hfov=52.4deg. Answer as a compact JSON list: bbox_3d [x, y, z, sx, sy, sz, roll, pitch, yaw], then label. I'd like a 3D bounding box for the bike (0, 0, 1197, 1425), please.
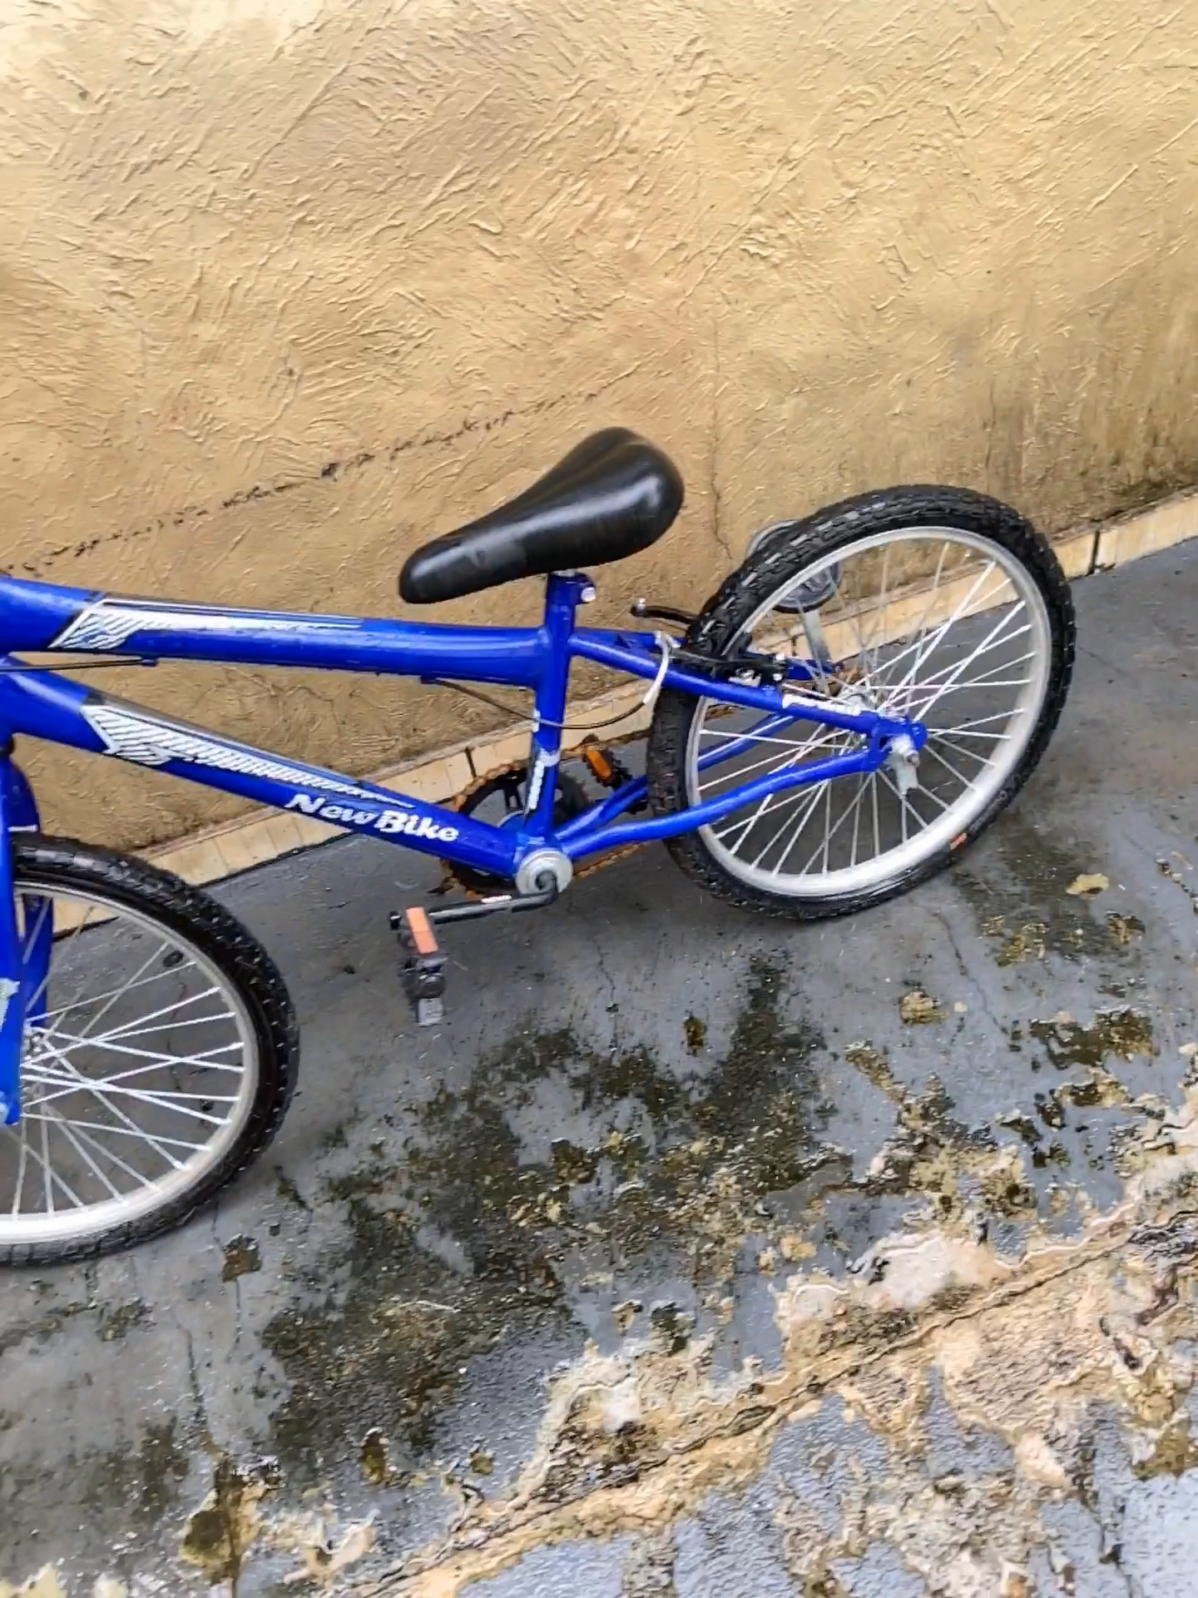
[{"bbox_3d":[-0.178,-0.147,1.012,1.250,0.849,0.545,-19,44,-11],"label":"bike"}]
